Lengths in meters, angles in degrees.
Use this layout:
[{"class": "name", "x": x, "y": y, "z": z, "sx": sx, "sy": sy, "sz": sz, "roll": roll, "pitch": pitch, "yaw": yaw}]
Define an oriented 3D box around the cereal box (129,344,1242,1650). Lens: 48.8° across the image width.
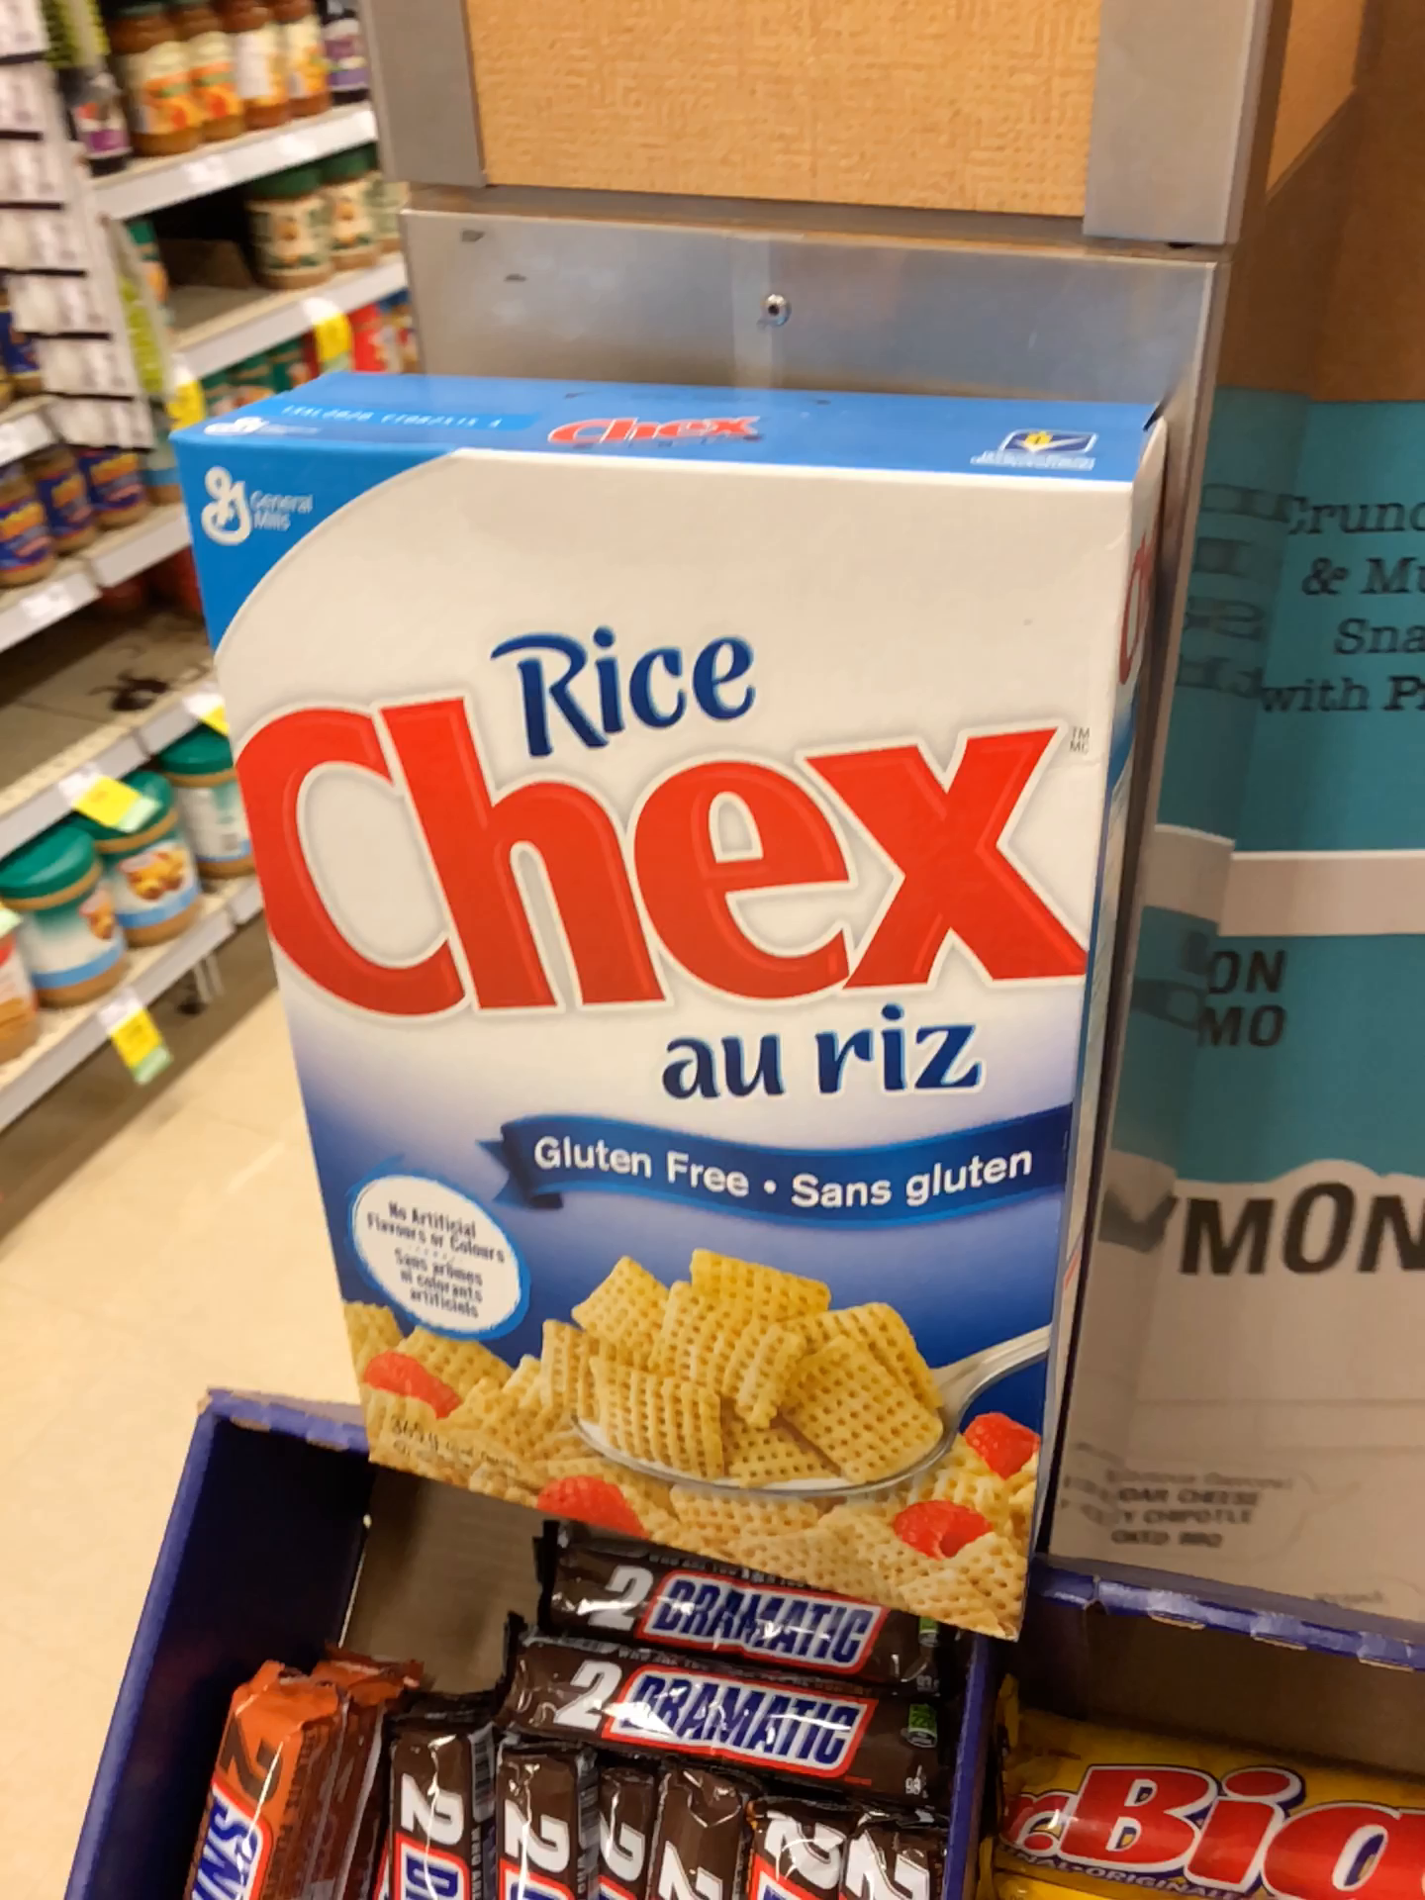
[{"class": "cereal box", "x": -0.006, "y": 0.016, "z": 0.382, "sx": 0.210, "sy": 0.288, "sz": 0.070, "roll": 10, "pitch": 31, "yaw": 17}]
